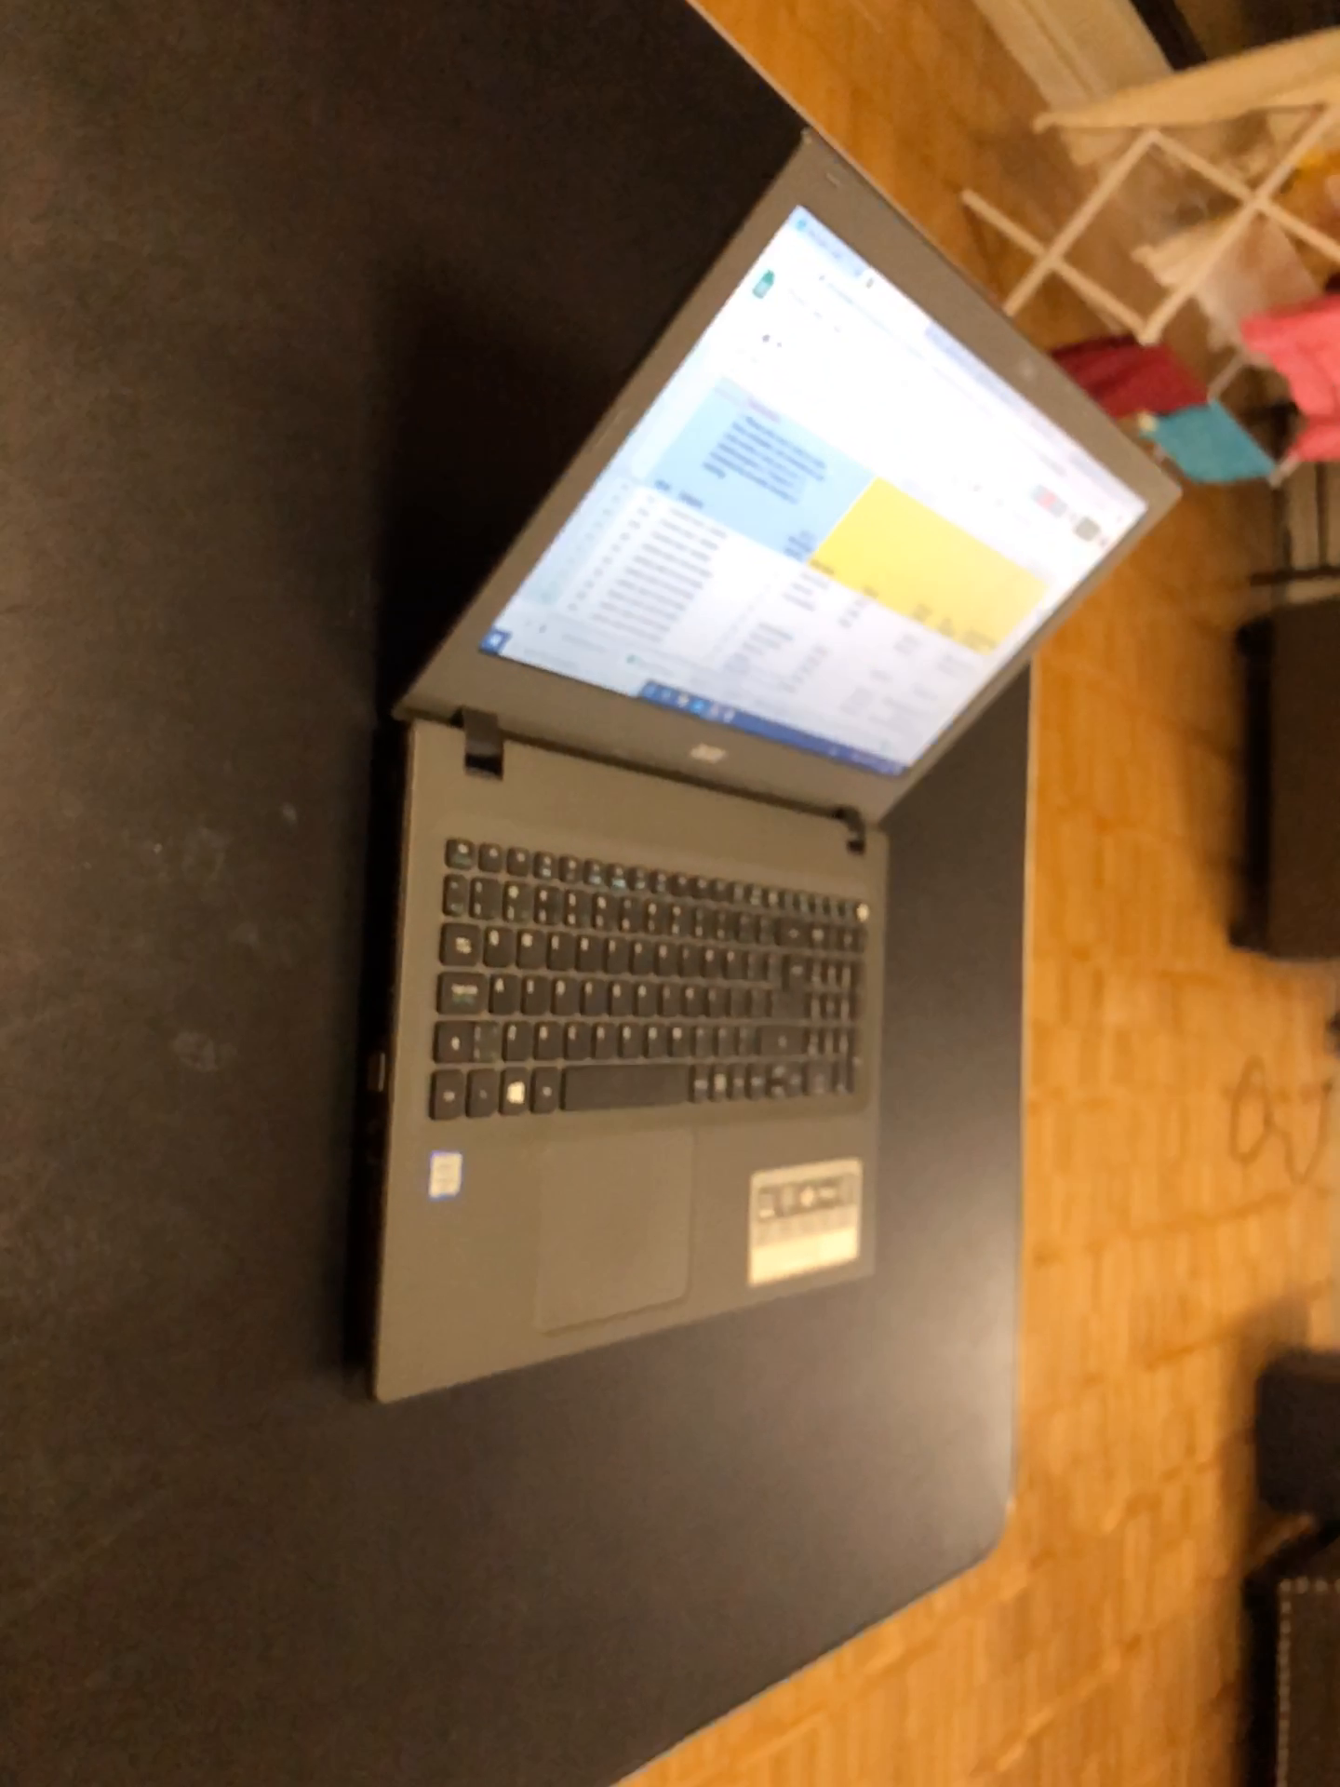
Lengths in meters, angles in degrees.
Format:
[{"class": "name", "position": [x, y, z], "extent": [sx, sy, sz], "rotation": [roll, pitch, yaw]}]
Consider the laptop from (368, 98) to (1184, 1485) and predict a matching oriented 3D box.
[{"class": "laptop", "position": [0.079, -0.025, 0.656], "extent": [0.376, 0.161, 0.429], "rotation": [8, 83, -53]}]
